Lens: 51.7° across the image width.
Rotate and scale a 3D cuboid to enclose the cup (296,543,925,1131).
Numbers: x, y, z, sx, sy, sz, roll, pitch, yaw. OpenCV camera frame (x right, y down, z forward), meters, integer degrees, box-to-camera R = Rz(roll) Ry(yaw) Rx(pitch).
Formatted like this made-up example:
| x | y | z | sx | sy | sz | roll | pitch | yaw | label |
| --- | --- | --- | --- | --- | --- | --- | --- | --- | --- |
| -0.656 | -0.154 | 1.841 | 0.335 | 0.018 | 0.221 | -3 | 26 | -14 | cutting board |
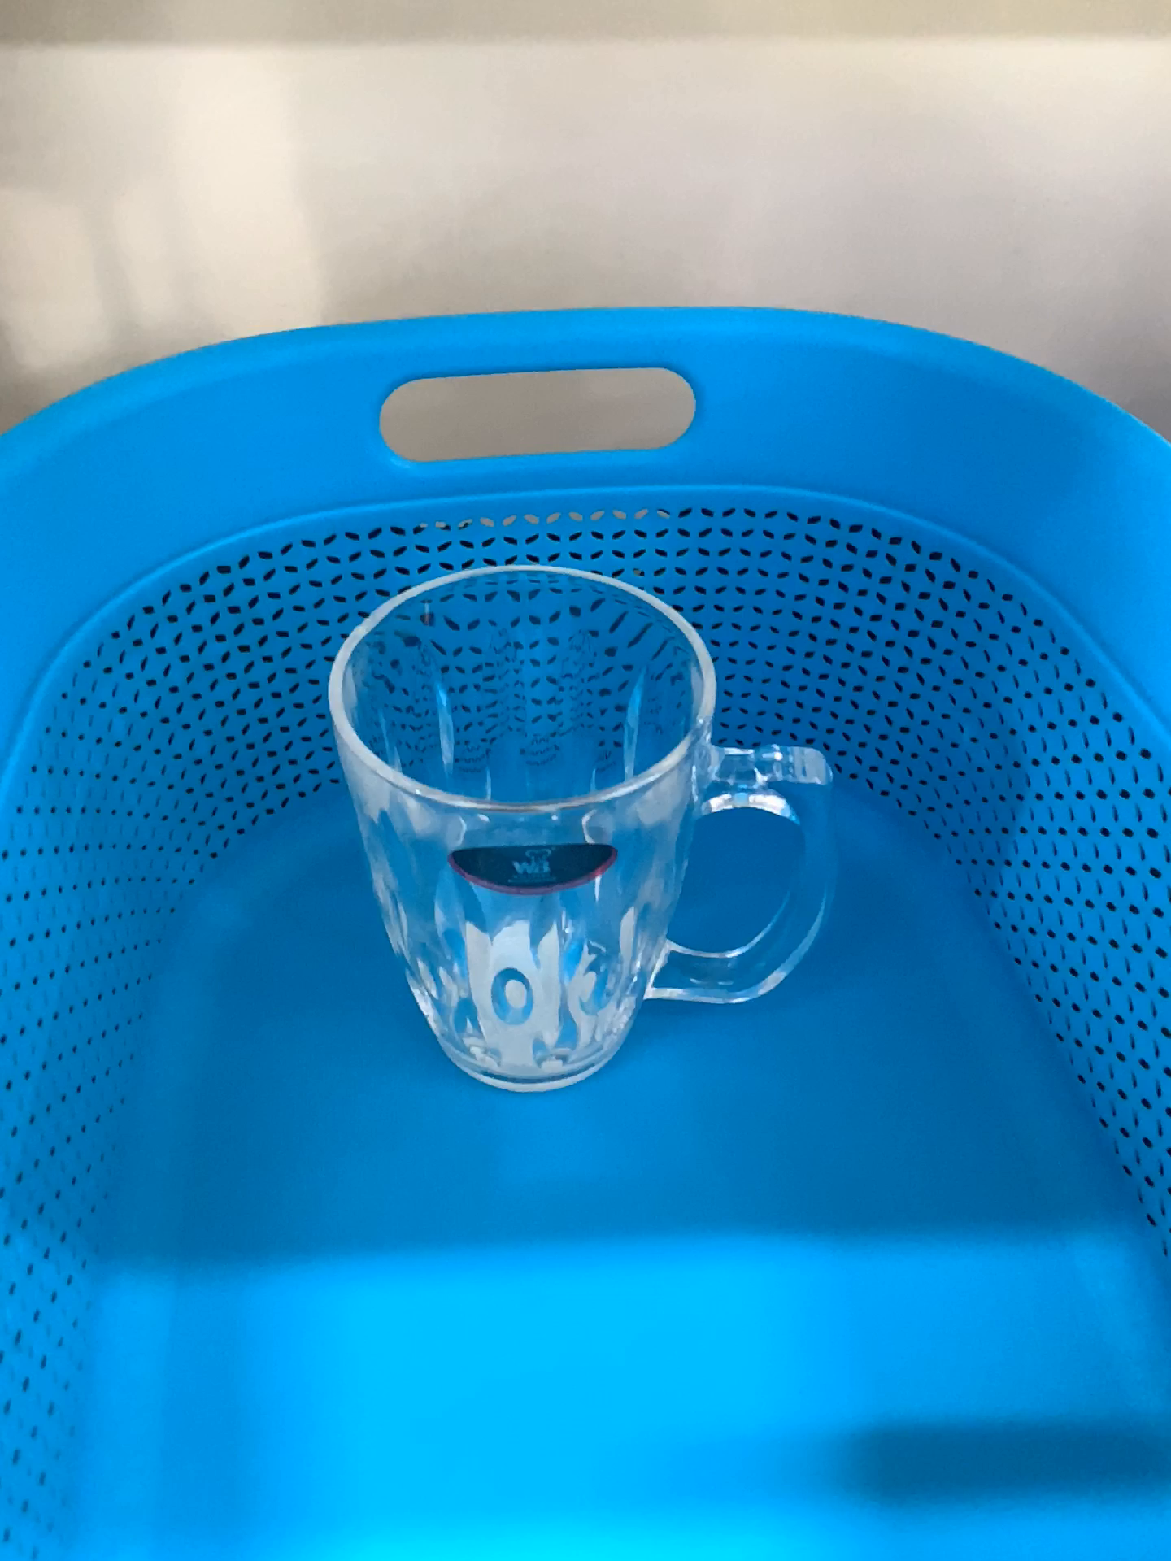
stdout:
| x | y | z | sx | sy | sz | roll | pitch | yaw | label |
| --- | --- | --- | --- | --- | --- | --- | --- | --- | --- |
| 0.004 | 0.015 | 0.279 | 0.110 | 0.109 | 0.081 | 1 | 44 | 0 | cup |
